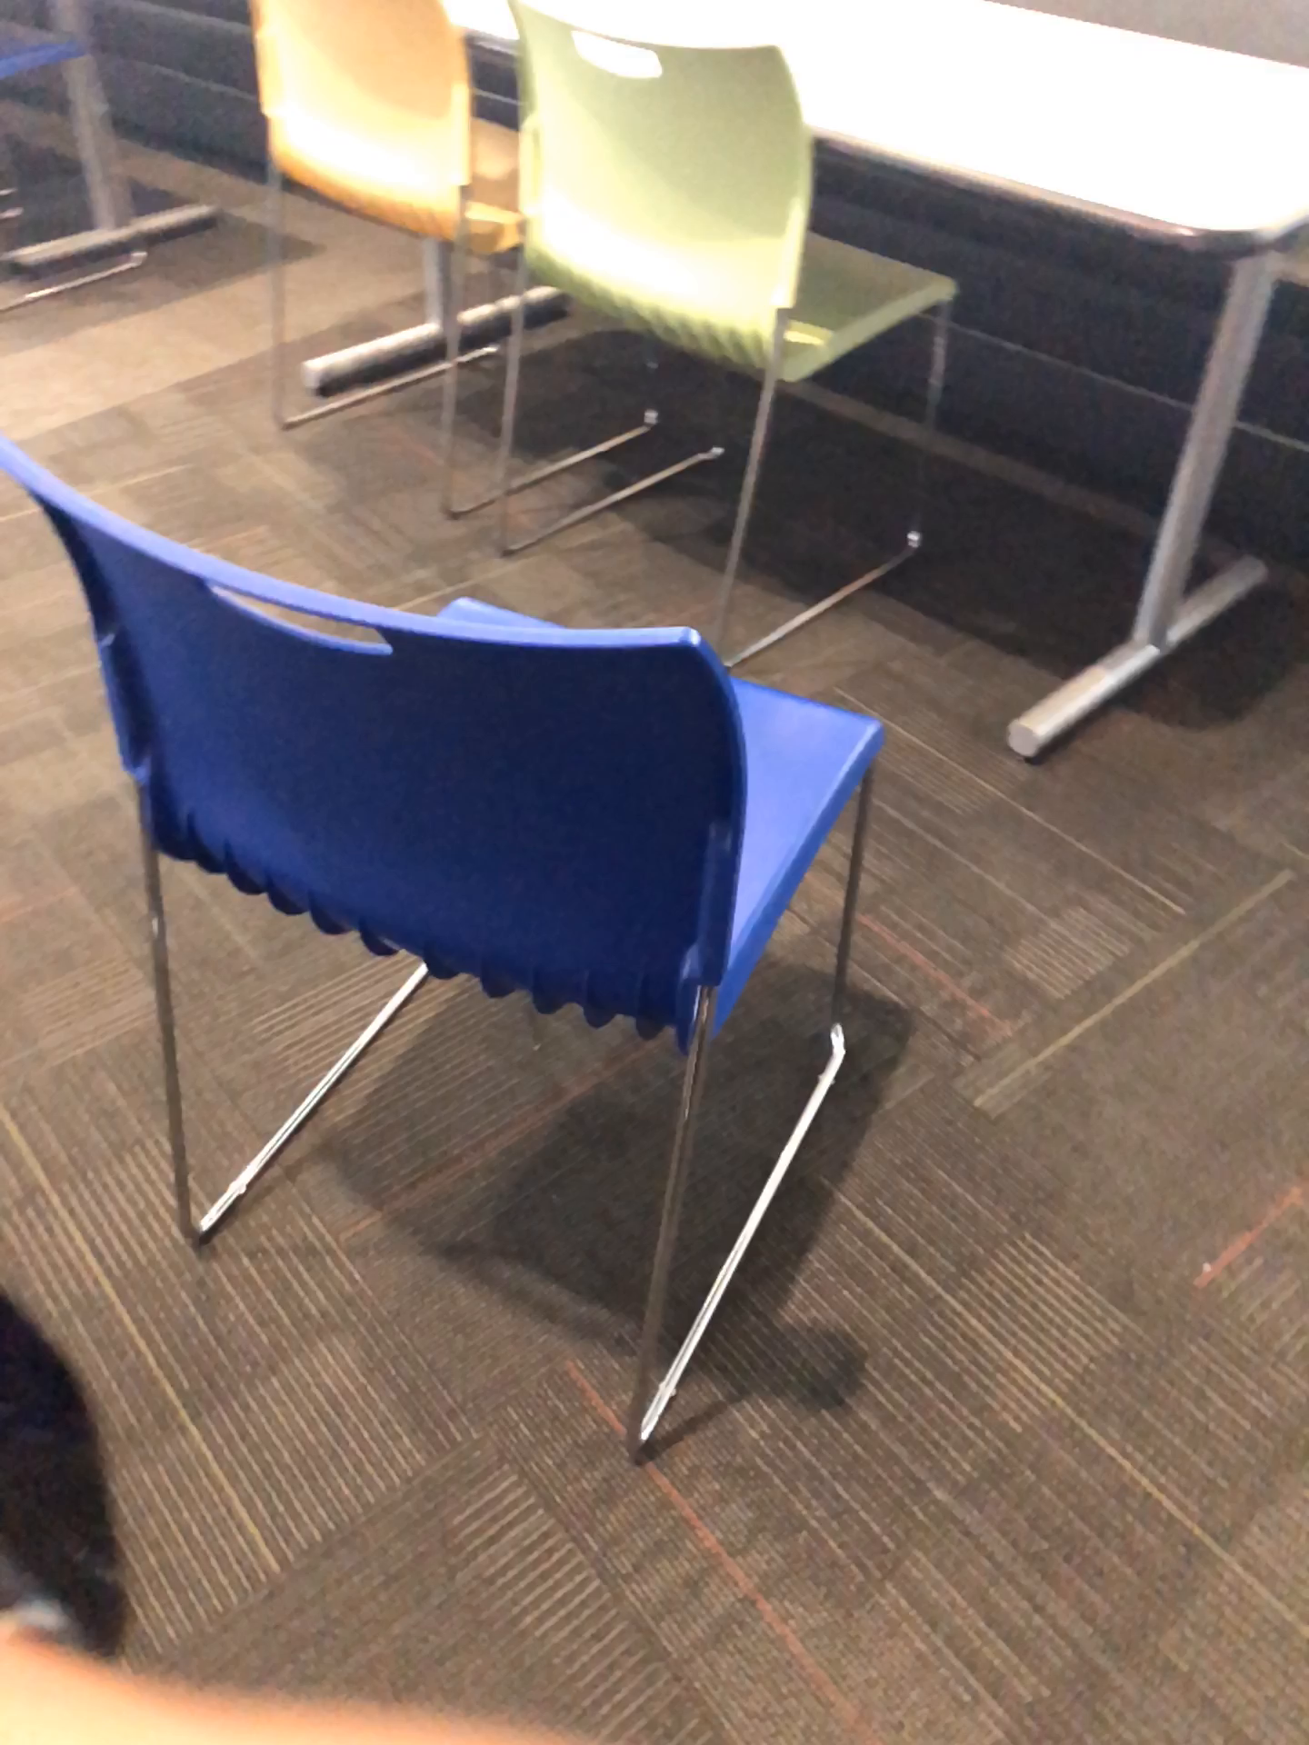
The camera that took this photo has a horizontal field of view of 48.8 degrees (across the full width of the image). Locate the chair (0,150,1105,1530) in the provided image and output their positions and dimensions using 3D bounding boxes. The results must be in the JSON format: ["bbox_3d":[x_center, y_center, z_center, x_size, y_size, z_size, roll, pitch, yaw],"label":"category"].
[{"bbox_3d":[-0.089,-0.047,1.143,0.581,0.756,0.592,19,44,18],"label":"chair"}]
